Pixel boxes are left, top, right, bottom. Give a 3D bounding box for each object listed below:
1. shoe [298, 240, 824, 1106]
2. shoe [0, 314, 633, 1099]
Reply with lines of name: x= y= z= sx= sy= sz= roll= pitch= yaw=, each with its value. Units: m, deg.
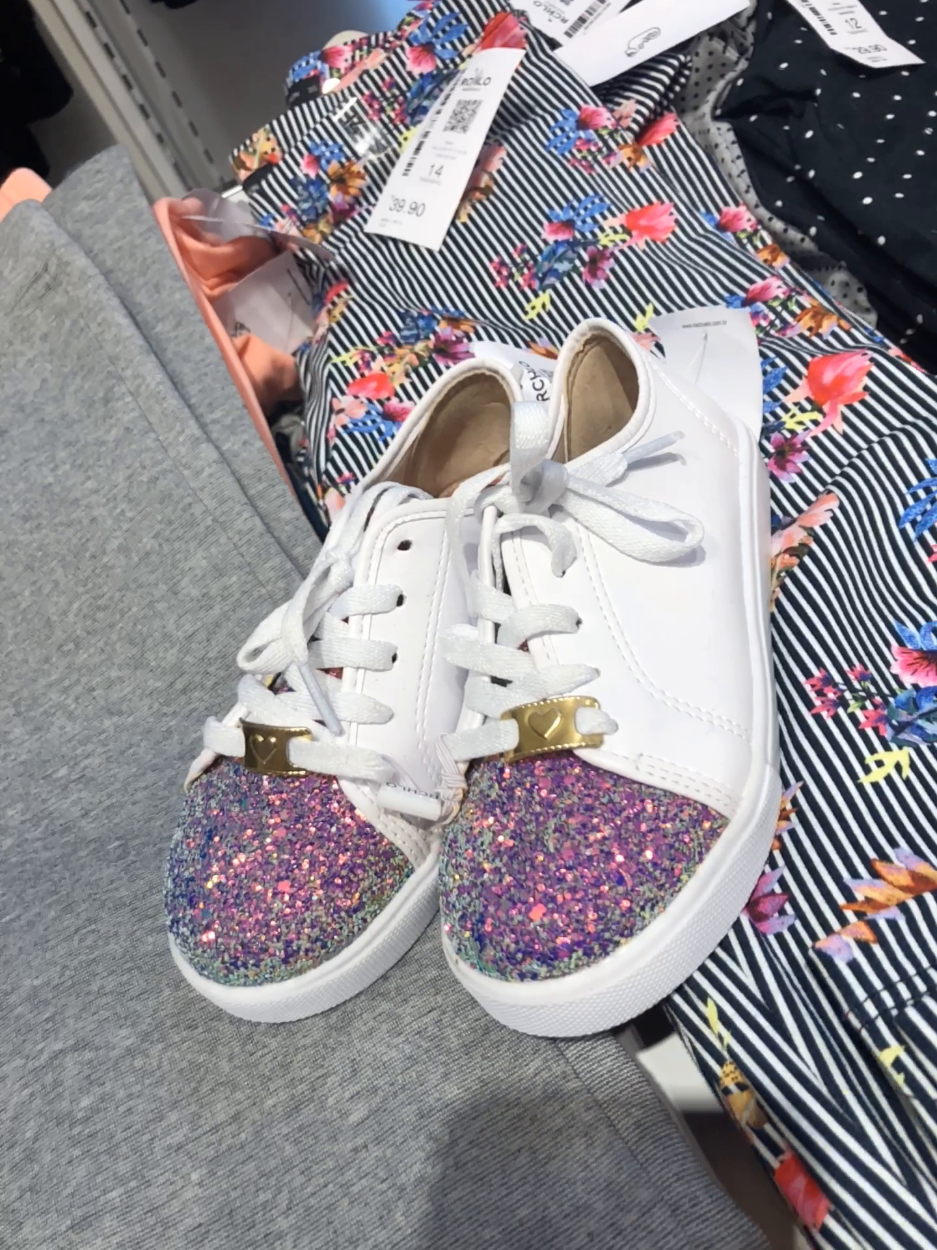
shoe: x=0.039 y=0.001 z=0.266 sx=0.080 sy=0.070 sz=0.201 roll=-4 pitch=52 yaw=28
shoe: x=-0.026 y=0.008 z=0.279 sx=0.080 sy=0.070 sz=0.191 roll=8 pitch=57 yaw=26
